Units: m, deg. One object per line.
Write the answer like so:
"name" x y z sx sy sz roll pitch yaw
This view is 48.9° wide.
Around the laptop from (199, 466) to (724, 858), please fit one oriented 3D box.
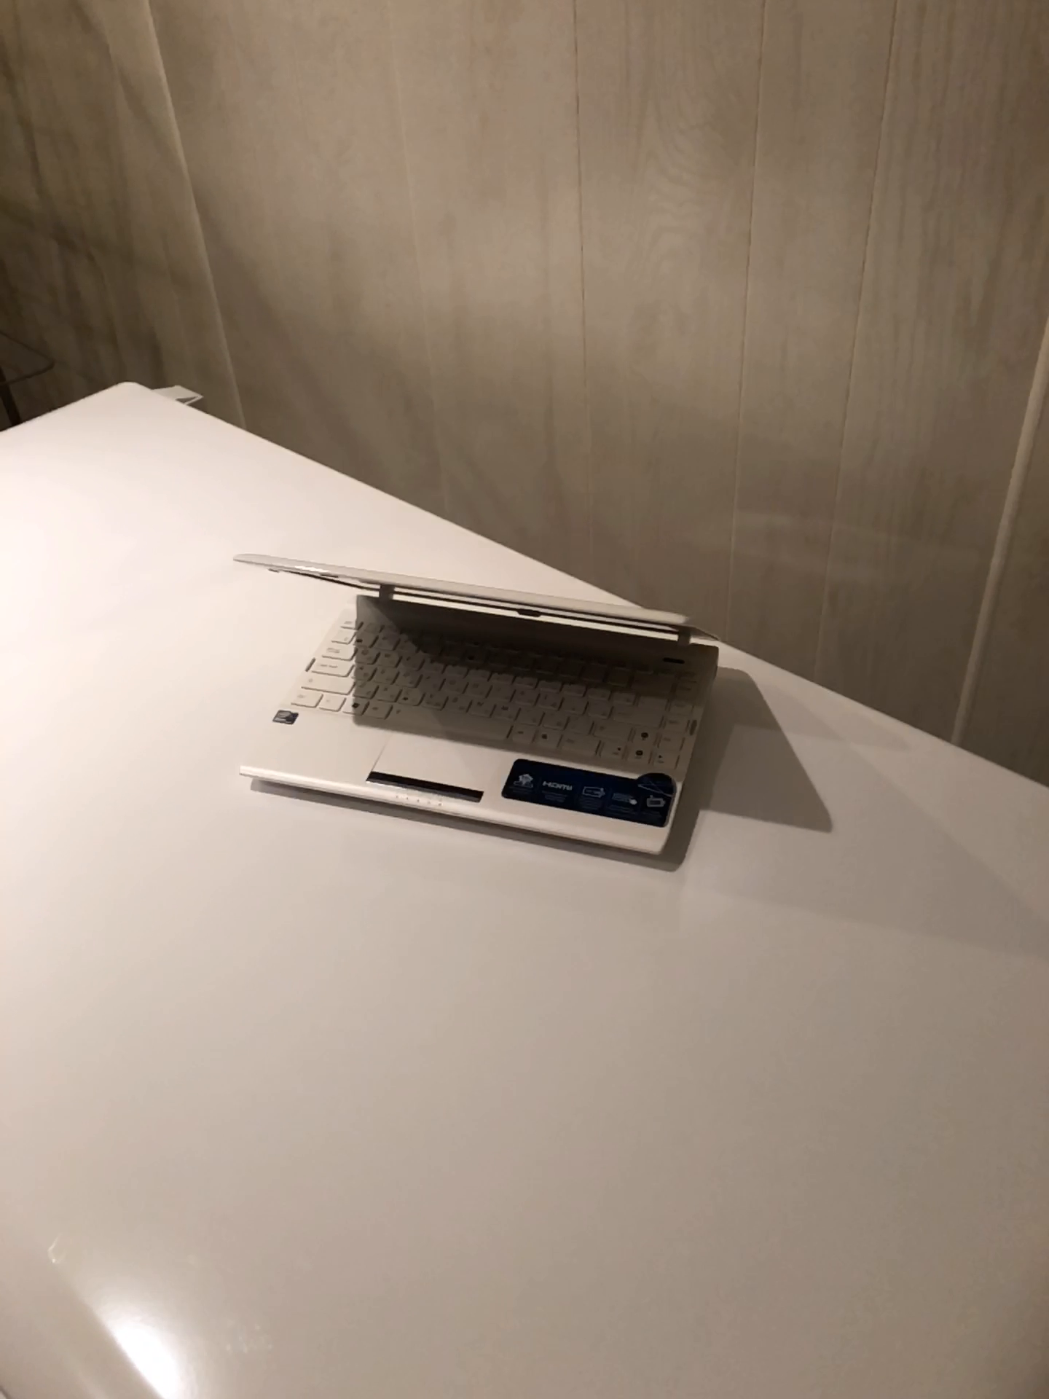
"laptop" -0.031 -0.038 0.782 0.298 0.115 0.199 9 45 15
